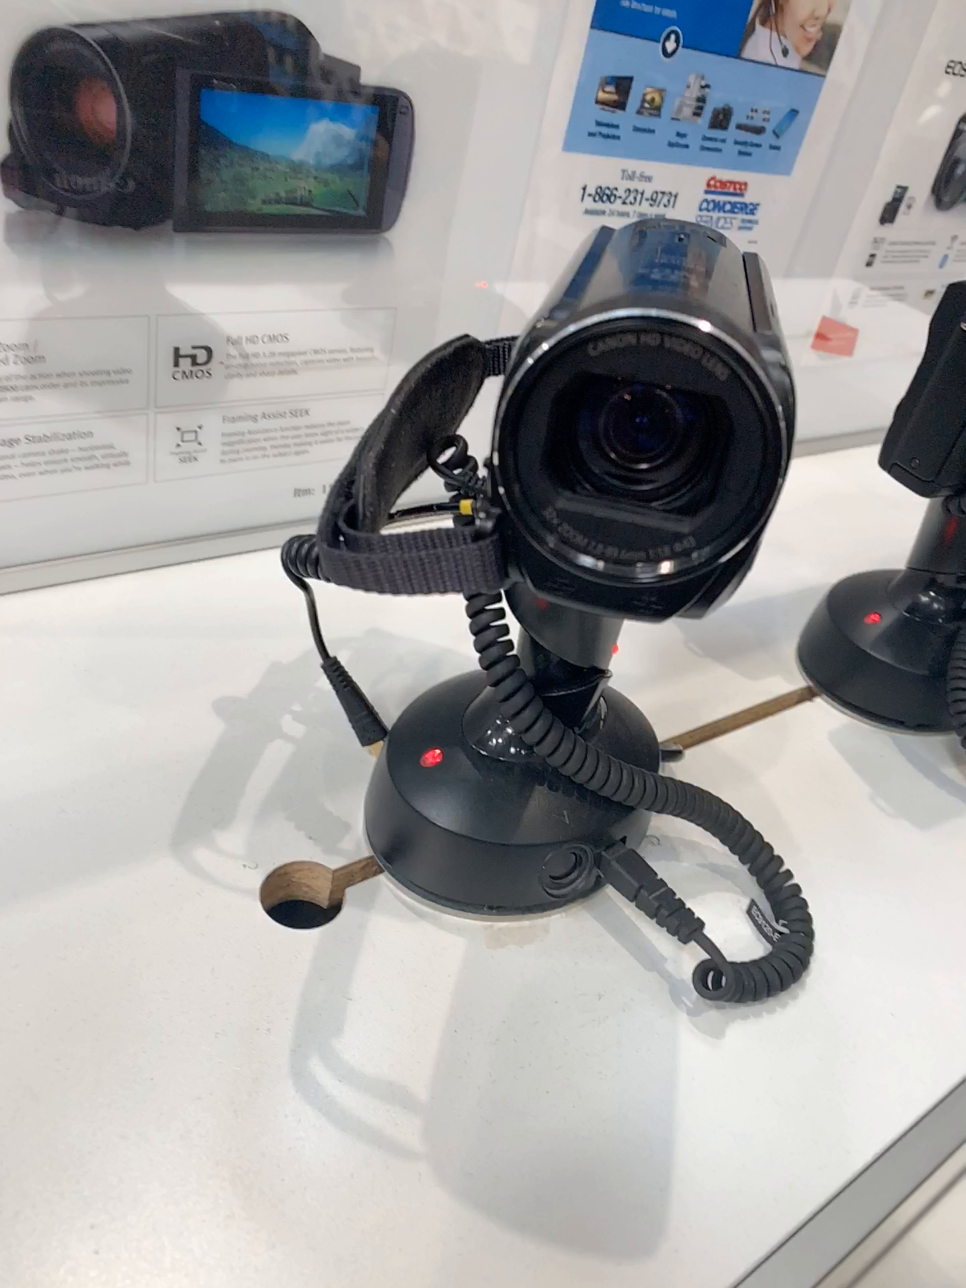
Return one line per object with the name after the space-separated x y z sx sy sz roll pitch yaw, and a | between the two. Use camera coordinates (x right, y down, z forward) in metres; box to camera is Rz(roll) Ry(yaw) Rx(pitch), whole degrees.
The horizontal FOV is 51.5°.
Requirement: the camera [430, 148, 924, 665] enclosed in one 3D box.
0.034 -0.056 0.196 0.058 0.054 0.114 15 32 2 | camera
